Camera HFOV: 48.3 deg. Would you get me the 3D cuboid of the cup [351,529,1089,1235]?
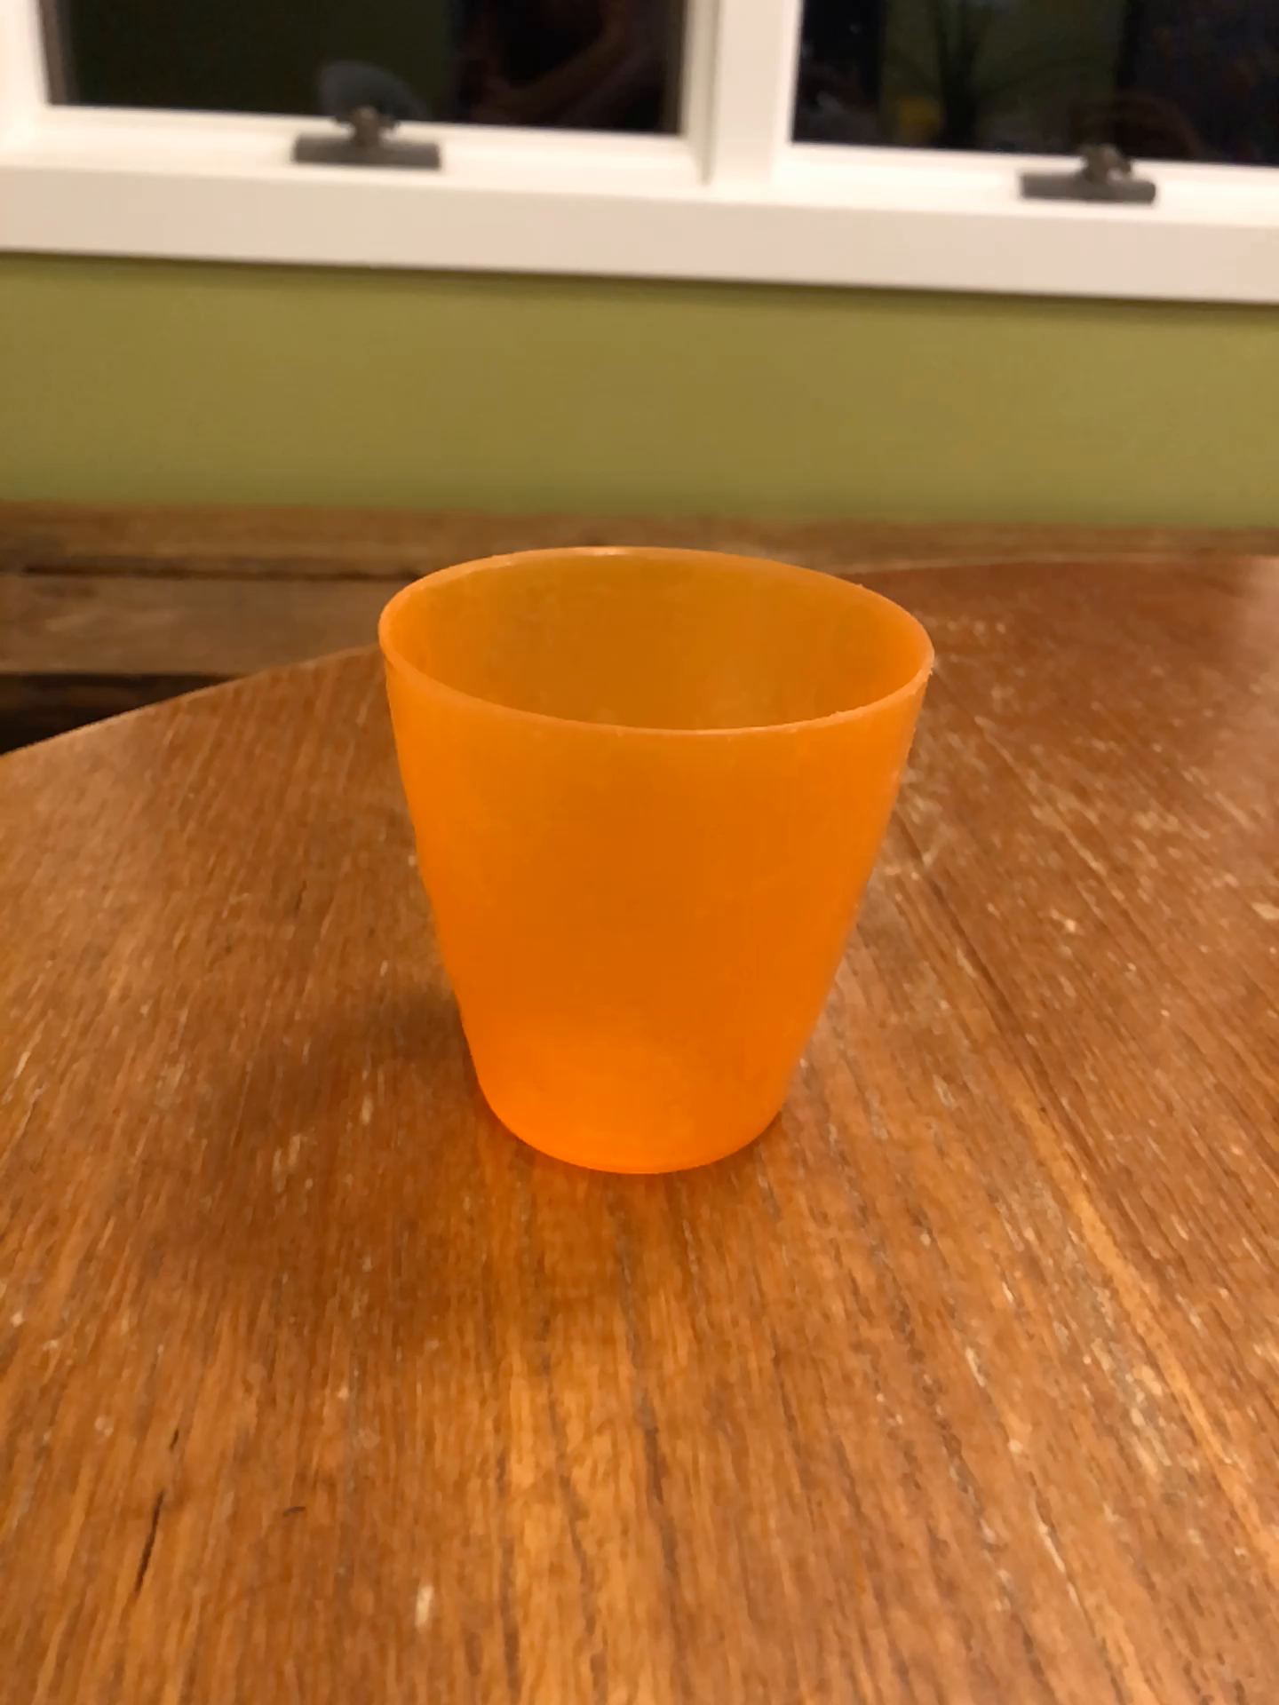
[{"bbox_3d":[0.003,-0.003,0.208,0.079,0.066,0.080,2,27,-1],"label":"cup"}]
